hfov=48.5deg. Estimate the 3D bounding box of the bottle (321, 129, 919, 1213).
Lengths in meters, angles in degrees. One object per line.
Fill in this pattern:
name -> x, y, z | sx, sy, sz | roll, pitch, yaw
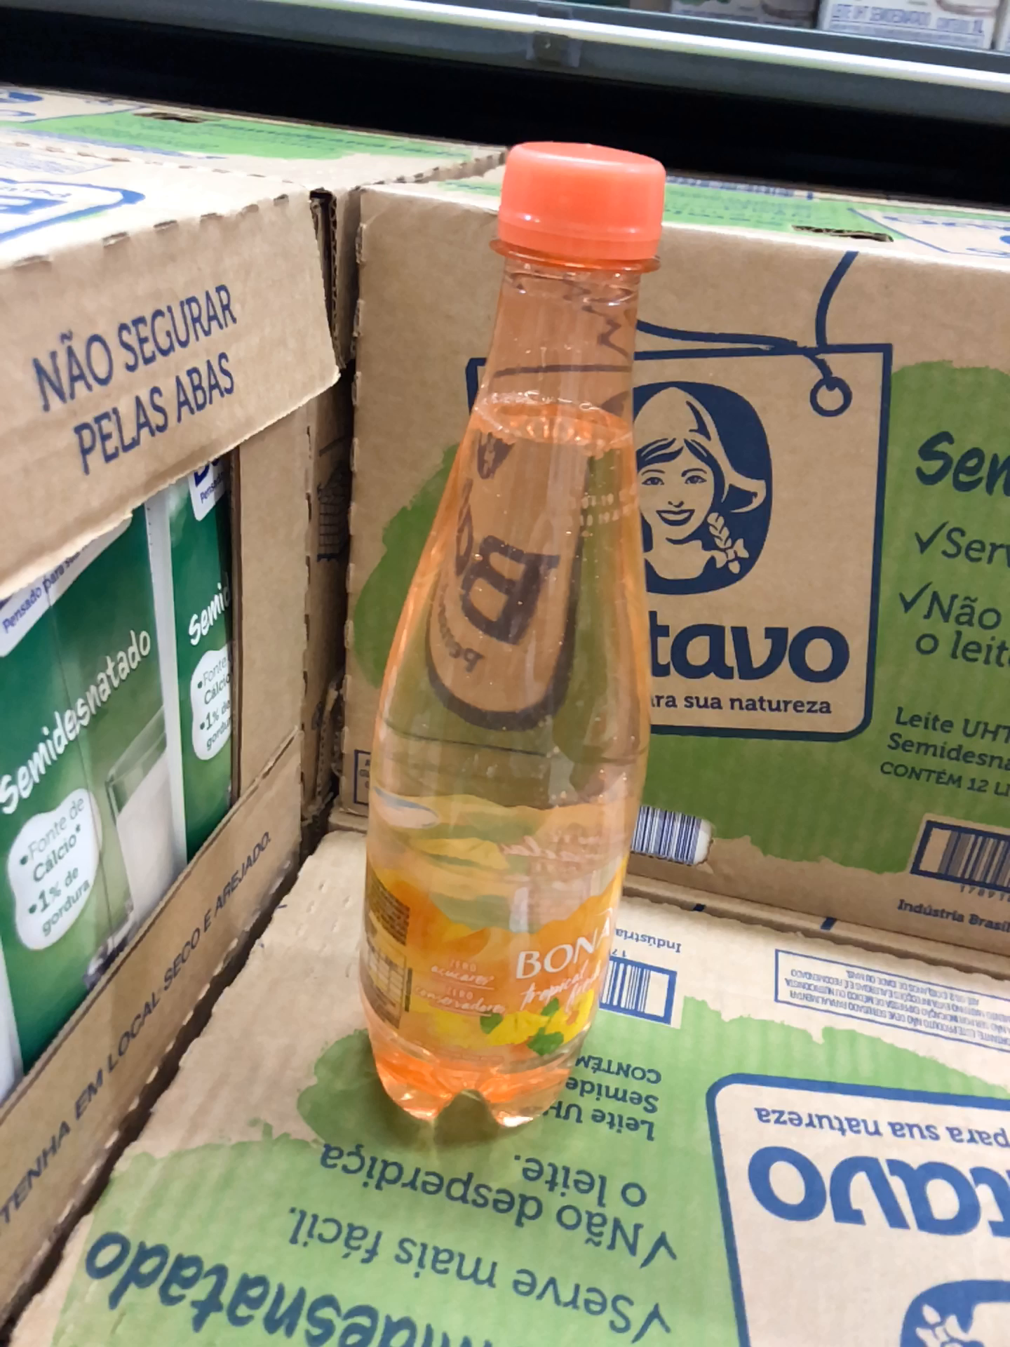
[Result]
bottle -> 0.014, 0.004, 0.264 | 0.080, 0.228, 0.070 | -19, 37, -40
